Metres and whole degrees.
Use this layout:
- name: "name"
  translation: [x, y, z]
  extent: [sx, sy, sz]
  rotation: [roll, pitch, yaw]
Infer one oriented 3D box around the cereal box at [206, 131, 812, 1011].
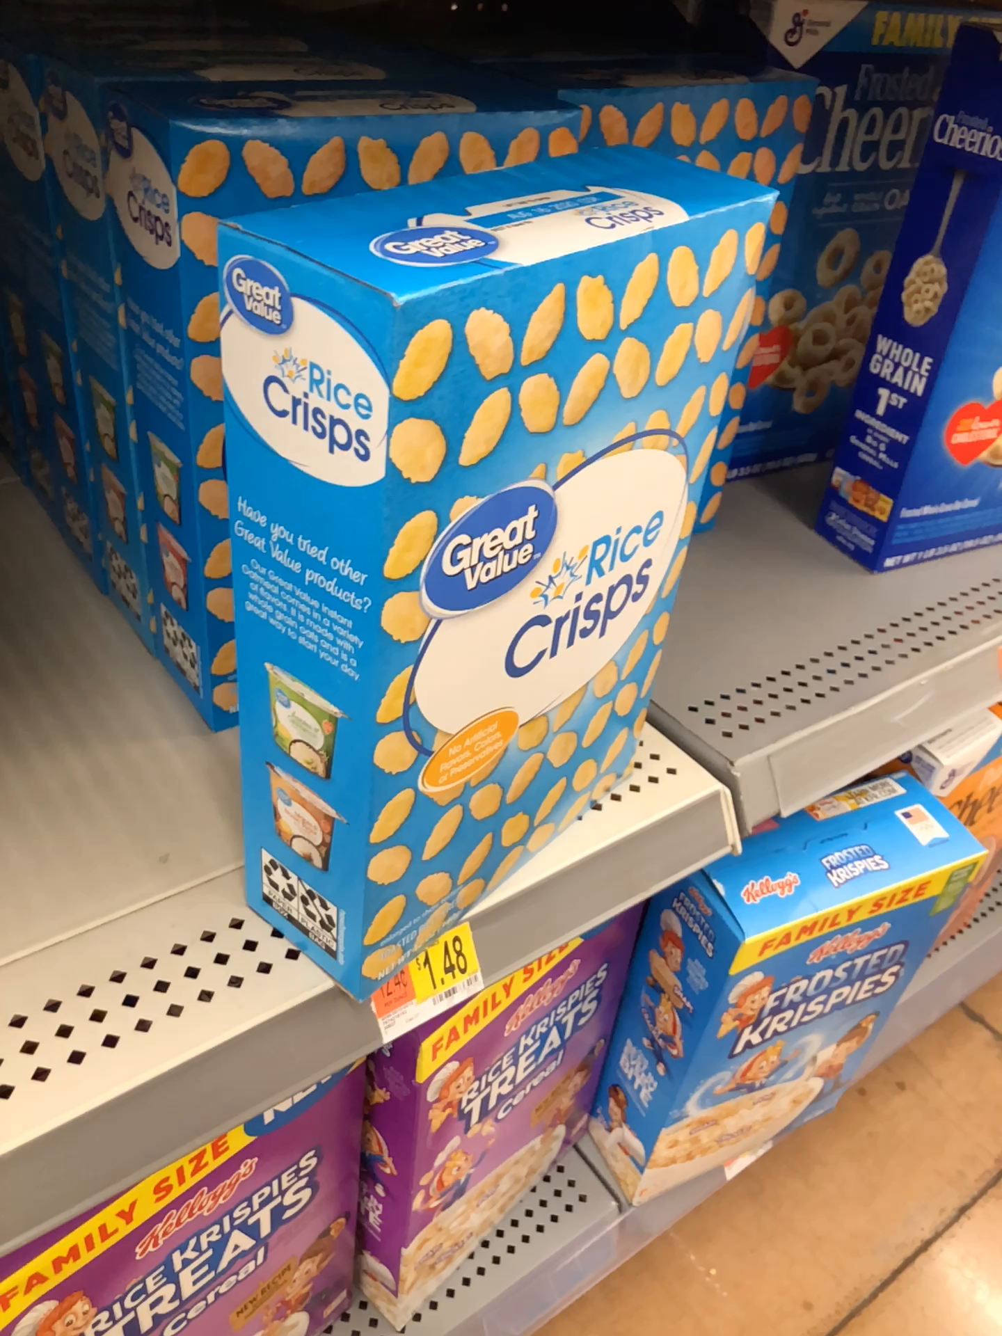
- name: "cereal box"
  translation: [0.001, -0.036, 0.413]
  extent: [0.070, 0.269, 0.200]
  rotation: [31, 43, 27]
